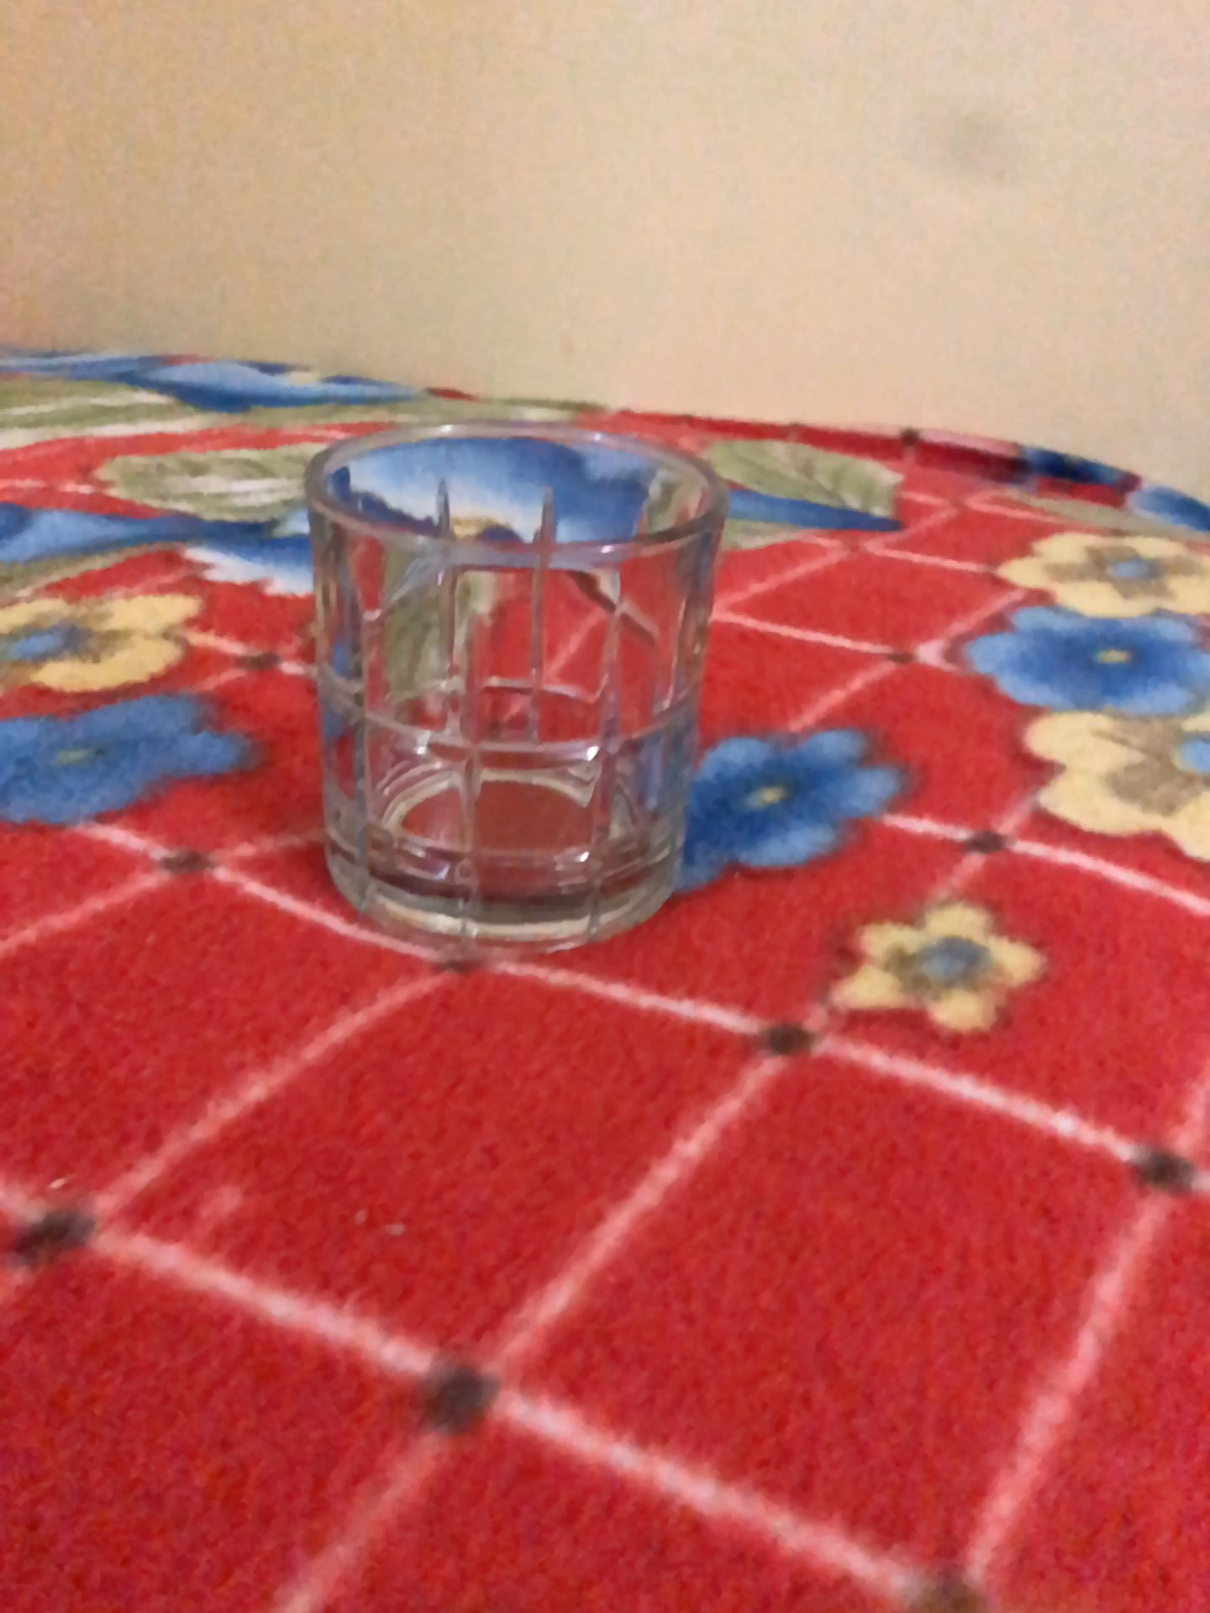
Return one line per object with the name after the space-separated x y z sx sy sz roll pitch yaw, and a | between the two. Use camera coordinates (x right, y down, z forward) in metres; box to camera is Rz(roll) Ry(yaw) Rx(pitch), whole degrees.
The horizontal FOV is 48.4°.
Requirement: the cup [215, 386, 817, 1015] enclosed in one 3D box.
-0.014 -0.028 0.272 0.084 0.088 0.084 2 28 -1 | cup
